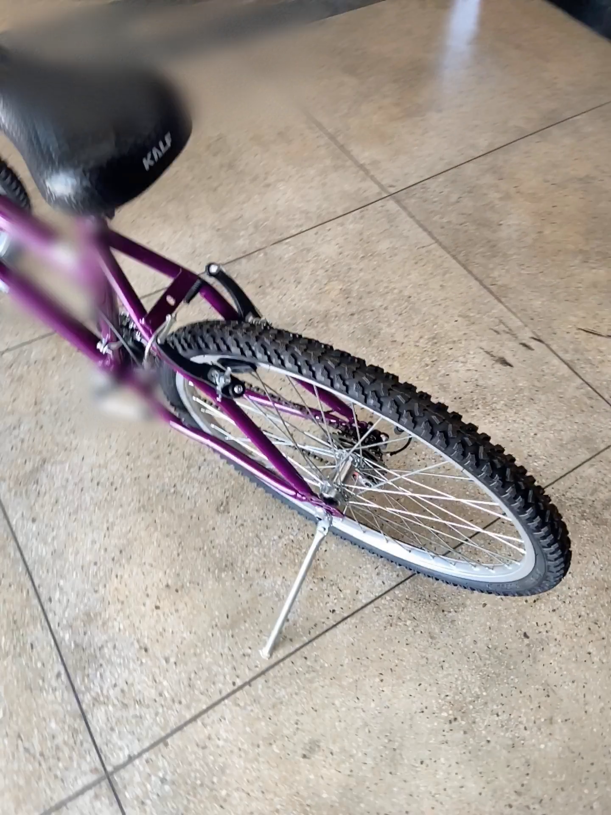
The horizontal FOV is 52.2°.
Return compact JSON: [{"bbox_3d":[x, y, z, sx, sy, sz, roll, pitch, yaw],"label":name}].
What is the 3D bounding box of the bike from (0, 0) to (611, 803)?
[{"bbox_3d":[-0.374,-0.120,0.764,1.522,1.035,0.575,17,58,8],"label":"bike"}]
